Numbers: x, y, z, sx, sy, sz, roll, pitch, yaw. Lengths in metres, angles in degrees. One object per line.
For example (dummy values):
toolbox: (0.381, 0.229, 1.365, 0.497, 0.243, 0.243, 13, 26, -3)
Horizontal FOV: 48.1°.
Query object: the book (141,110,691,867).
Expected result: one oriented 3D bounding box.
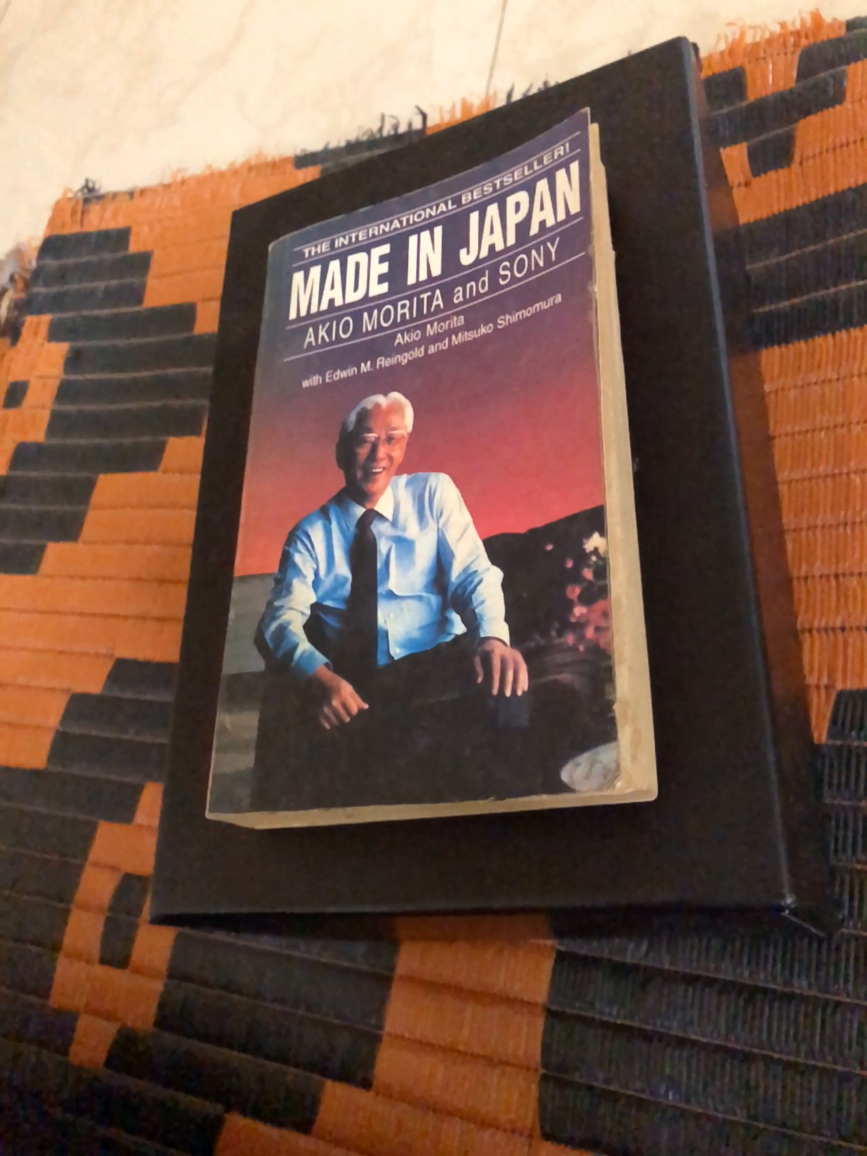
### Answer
book: (-0.006, -0.020, 0.242, 0.120, 0.030, 0.170, -11, 64, 28)
